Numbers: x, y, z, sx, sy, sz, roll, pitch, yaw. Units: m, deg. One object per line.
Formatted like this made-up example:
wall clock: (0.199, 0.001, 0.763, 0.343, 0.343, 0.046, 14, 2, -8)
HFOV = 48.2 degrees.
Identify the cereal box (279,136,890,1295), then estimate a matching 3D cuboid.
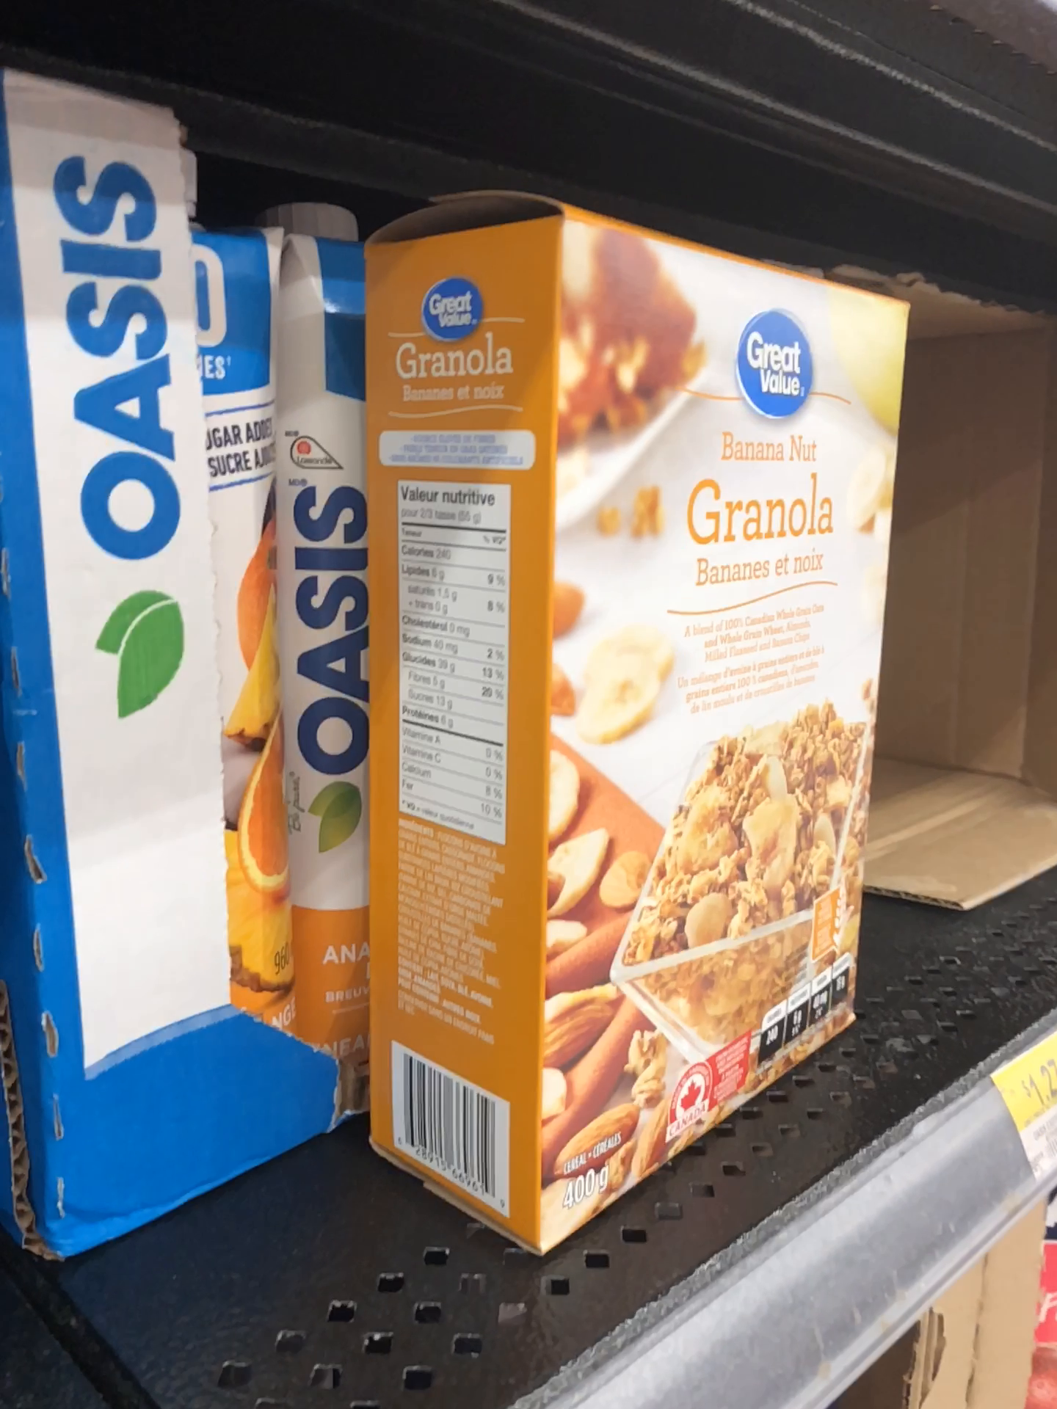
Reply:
cereal box: (0.023, -0.003, 0.299, 0.060, 0.220, 0.160, 9, 13, 39)
